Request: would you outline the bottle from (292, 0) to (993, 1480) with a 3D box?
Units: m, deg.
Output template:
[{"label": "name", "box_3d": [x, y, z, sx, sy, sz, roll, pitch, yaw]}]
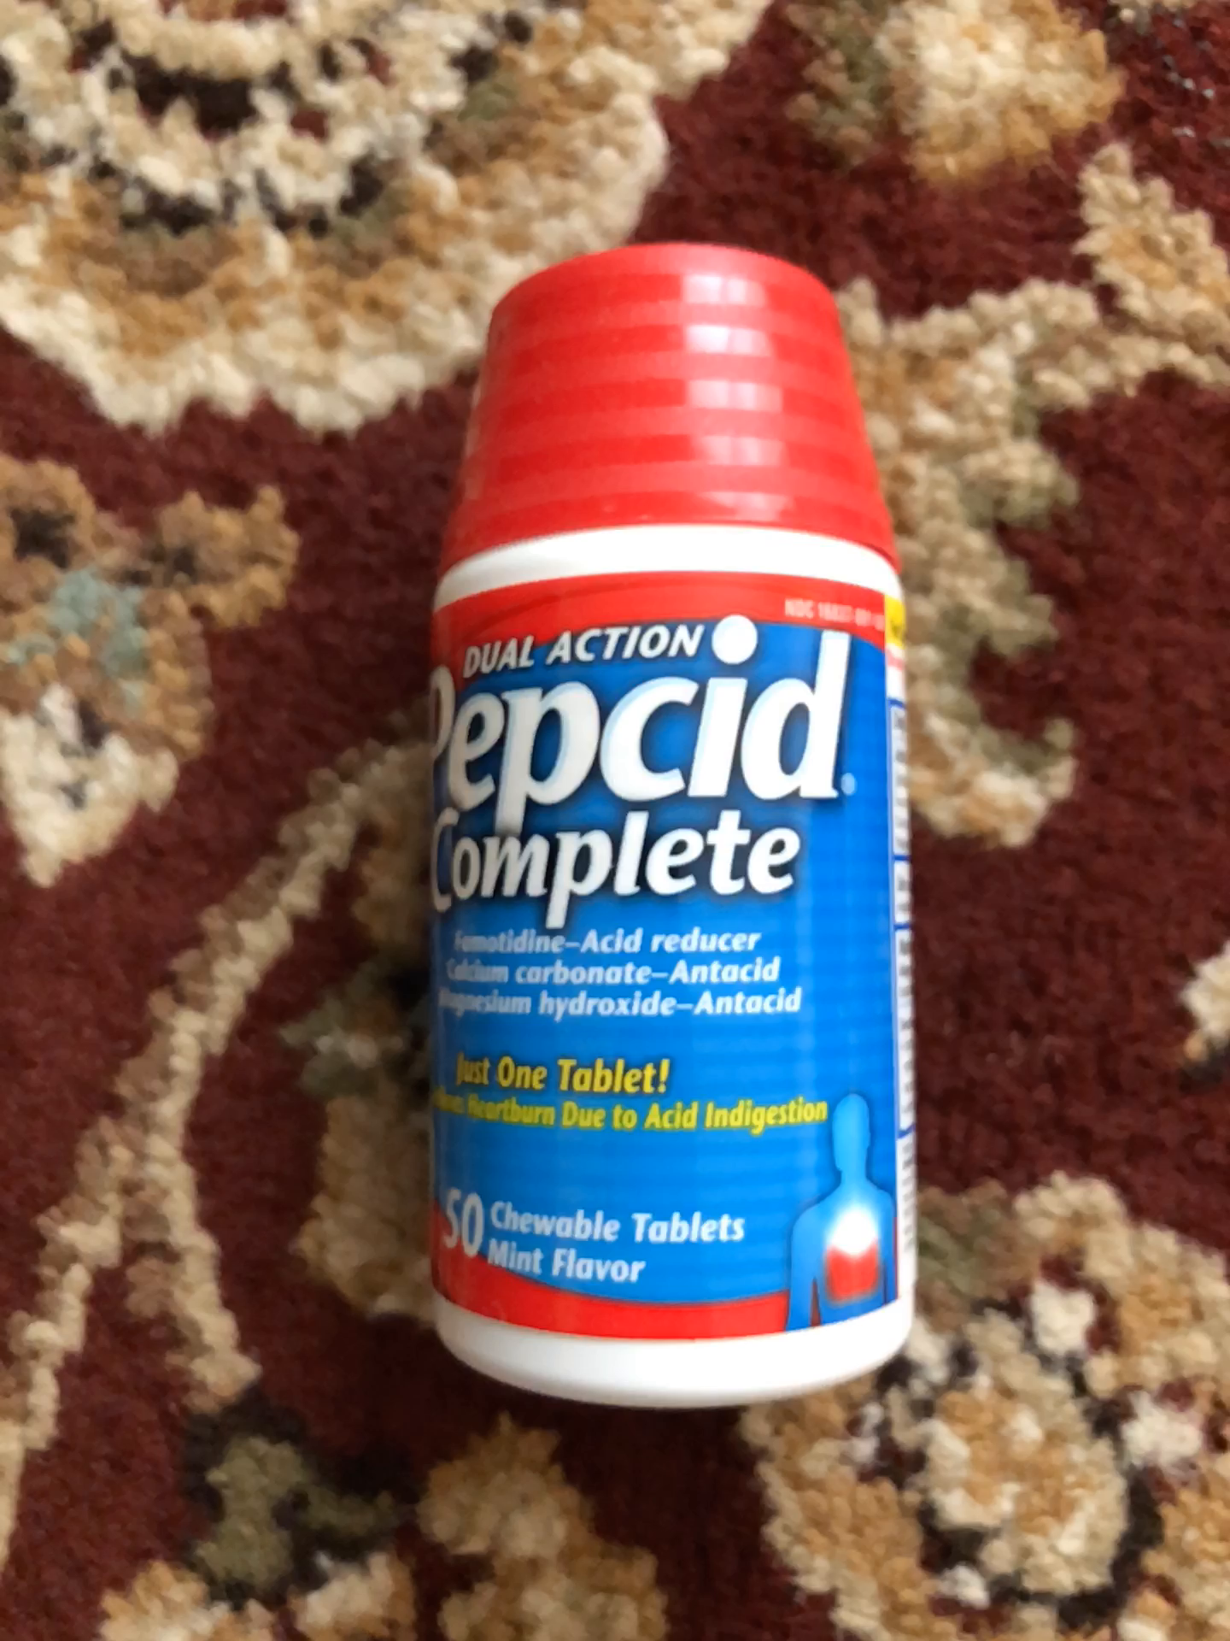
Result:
[{"label": "bottle", "box_3d": [0.007, -0.007, 0.163, 0.060, 0.060, 0.130, -1, 87, 26]}]
